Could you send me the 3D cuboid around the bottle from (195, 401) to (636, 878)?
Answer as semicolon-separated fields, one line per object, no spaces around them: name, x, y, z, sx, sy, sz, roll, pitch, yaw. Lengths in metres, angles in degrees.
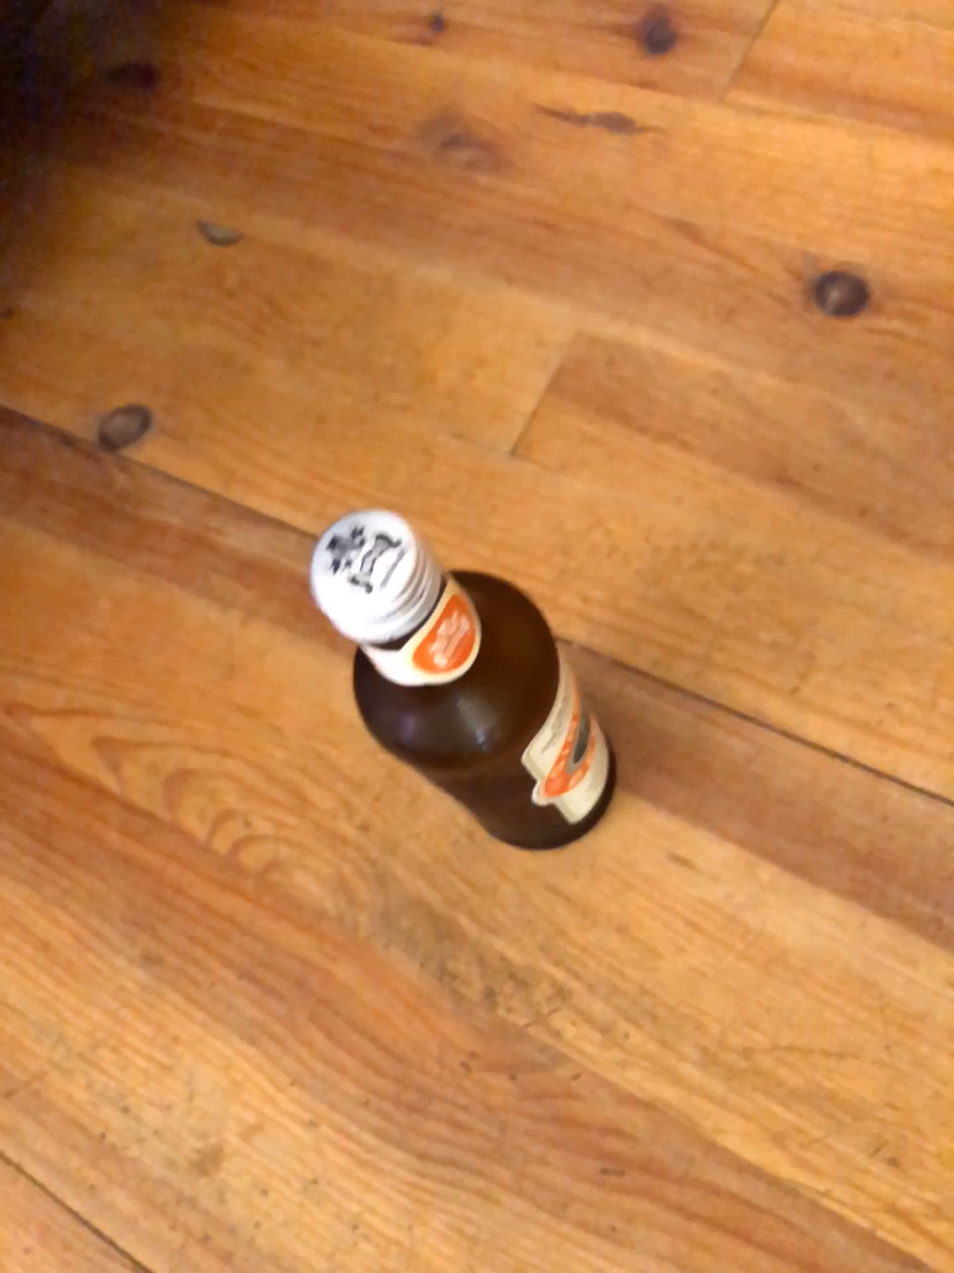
bottle;0.001;0.018;0.324;0.060;0.210;0.070;7;71;18
